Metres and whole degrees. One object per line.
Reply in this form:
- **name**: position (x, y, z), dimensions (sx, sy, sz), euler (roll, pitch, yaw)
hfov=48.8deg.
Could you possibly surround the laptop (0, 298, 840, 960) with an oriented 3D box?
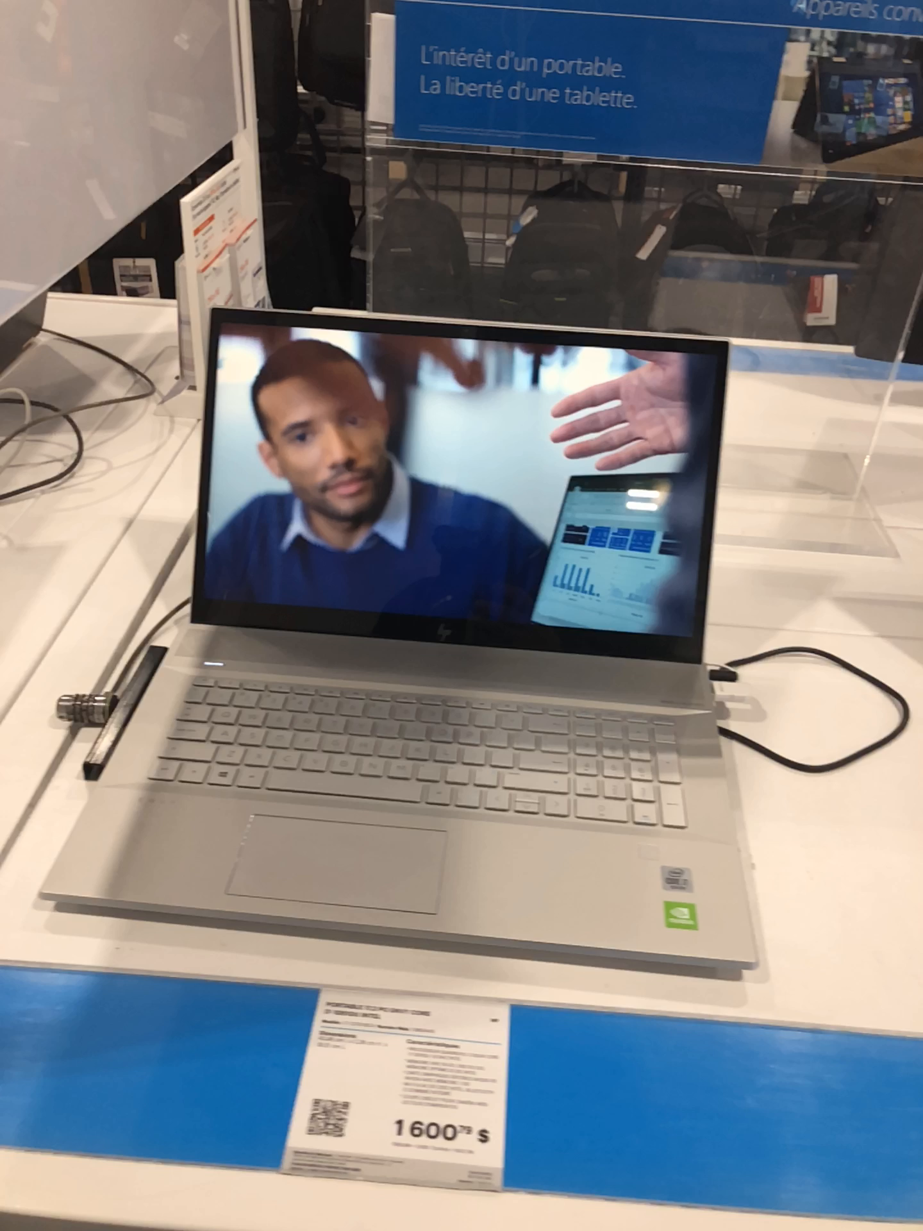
- **laptop**: position (-0.019, -0.029, 0.665), dimensions (0.390, 0.199, 0.399), euler (5, 35, 2)
